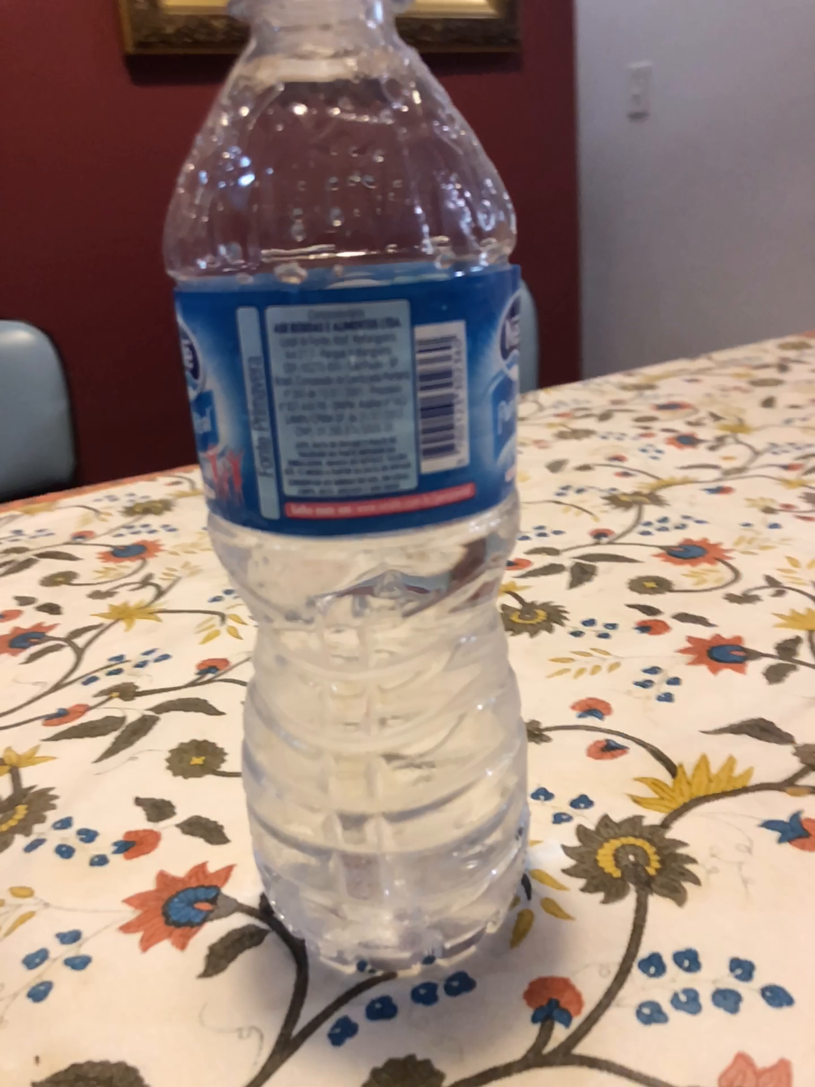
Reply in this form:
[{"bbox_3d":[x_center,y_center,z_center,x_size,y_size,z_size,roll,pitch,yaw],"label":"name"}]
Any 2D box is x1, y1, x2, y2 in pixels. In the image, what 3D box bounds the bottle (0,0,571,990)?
[{"bbox_3d":[-0.010,-0.015,0.166,0.070,0.189,0.060,-3,21,7],"label":"bottle"}]
